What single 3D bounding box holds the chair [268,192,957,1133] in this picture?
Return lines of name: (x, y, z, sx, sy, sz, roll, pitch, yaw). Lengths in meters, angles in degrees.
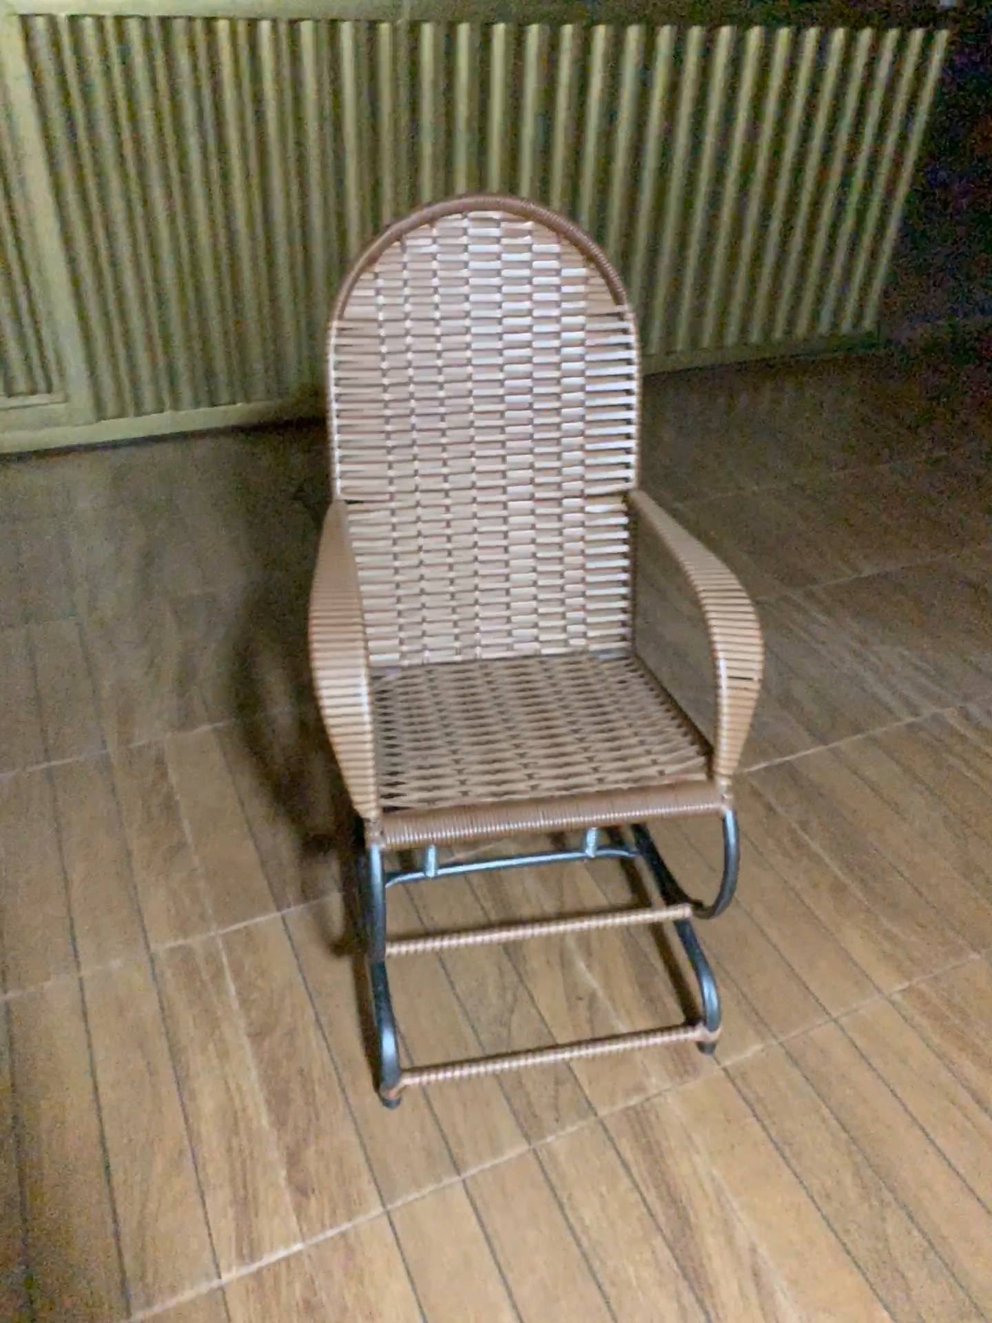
chair: (0.021, -0.026, 1.477, 0.598, 1.050, 0.787, -4, 36, -11)
